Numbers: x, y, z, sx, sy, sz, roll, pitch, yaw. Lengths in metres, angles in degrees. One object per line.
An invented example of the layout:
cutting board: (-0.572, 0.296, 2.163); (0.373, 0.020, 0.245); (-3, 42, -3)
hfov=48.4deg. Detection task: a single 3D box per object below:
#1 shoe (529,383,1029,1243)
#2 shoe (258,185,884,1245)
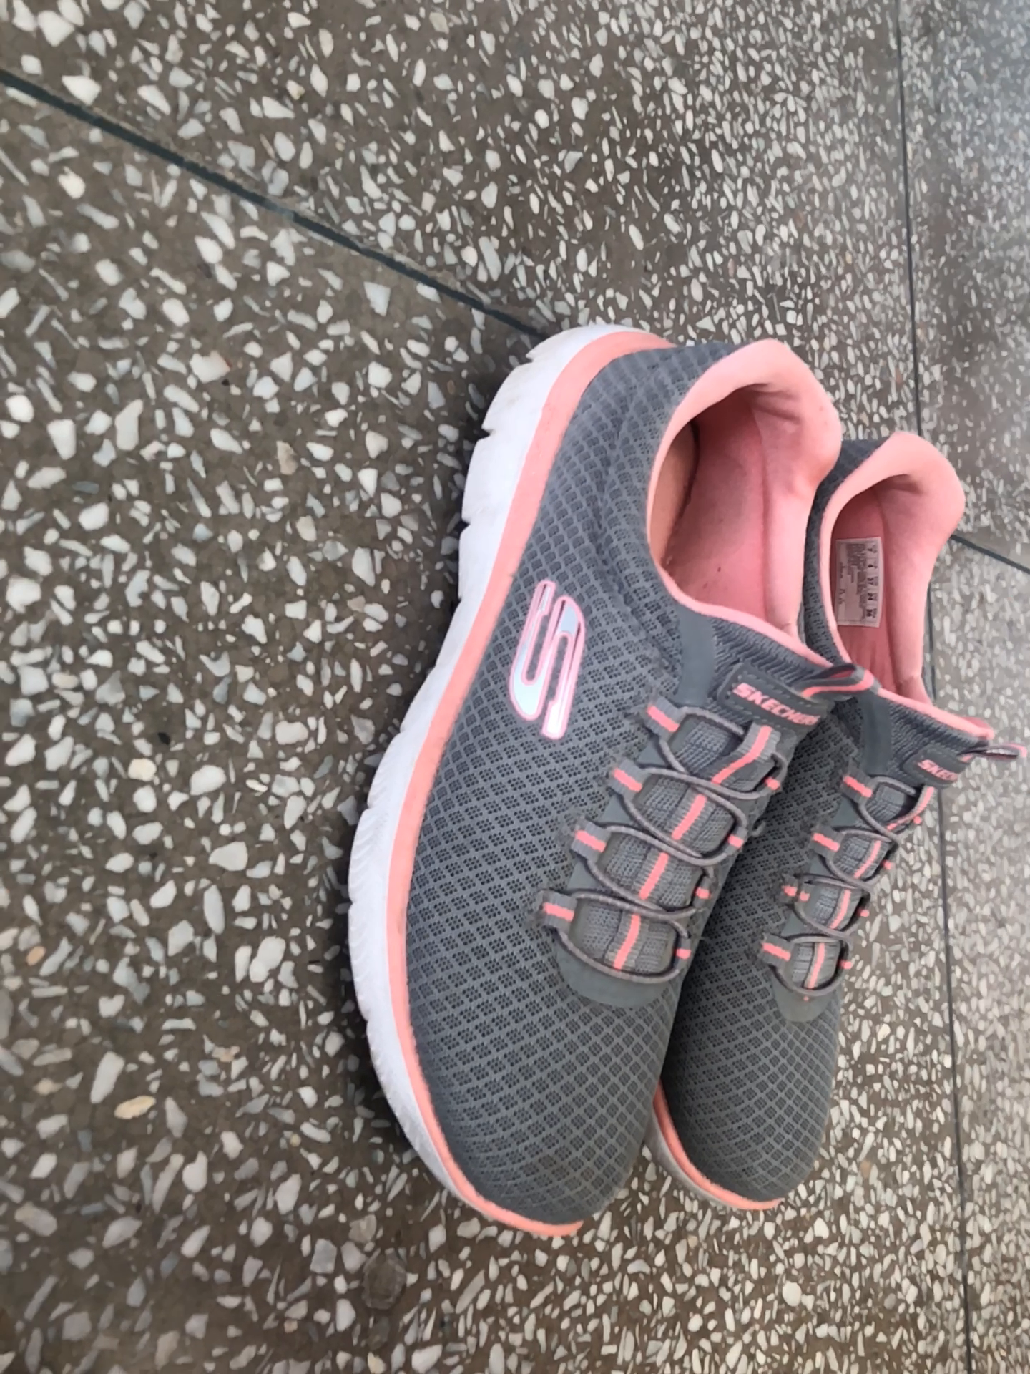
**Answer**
shoe: (0.091, 0.038, 0.368); (0.090, 0.100, 0.230); (21, 74, -40)
shoe: (0.020, 0.009, 0.317); (0.090, 0.100, 0.240); (21, 74, -40)
